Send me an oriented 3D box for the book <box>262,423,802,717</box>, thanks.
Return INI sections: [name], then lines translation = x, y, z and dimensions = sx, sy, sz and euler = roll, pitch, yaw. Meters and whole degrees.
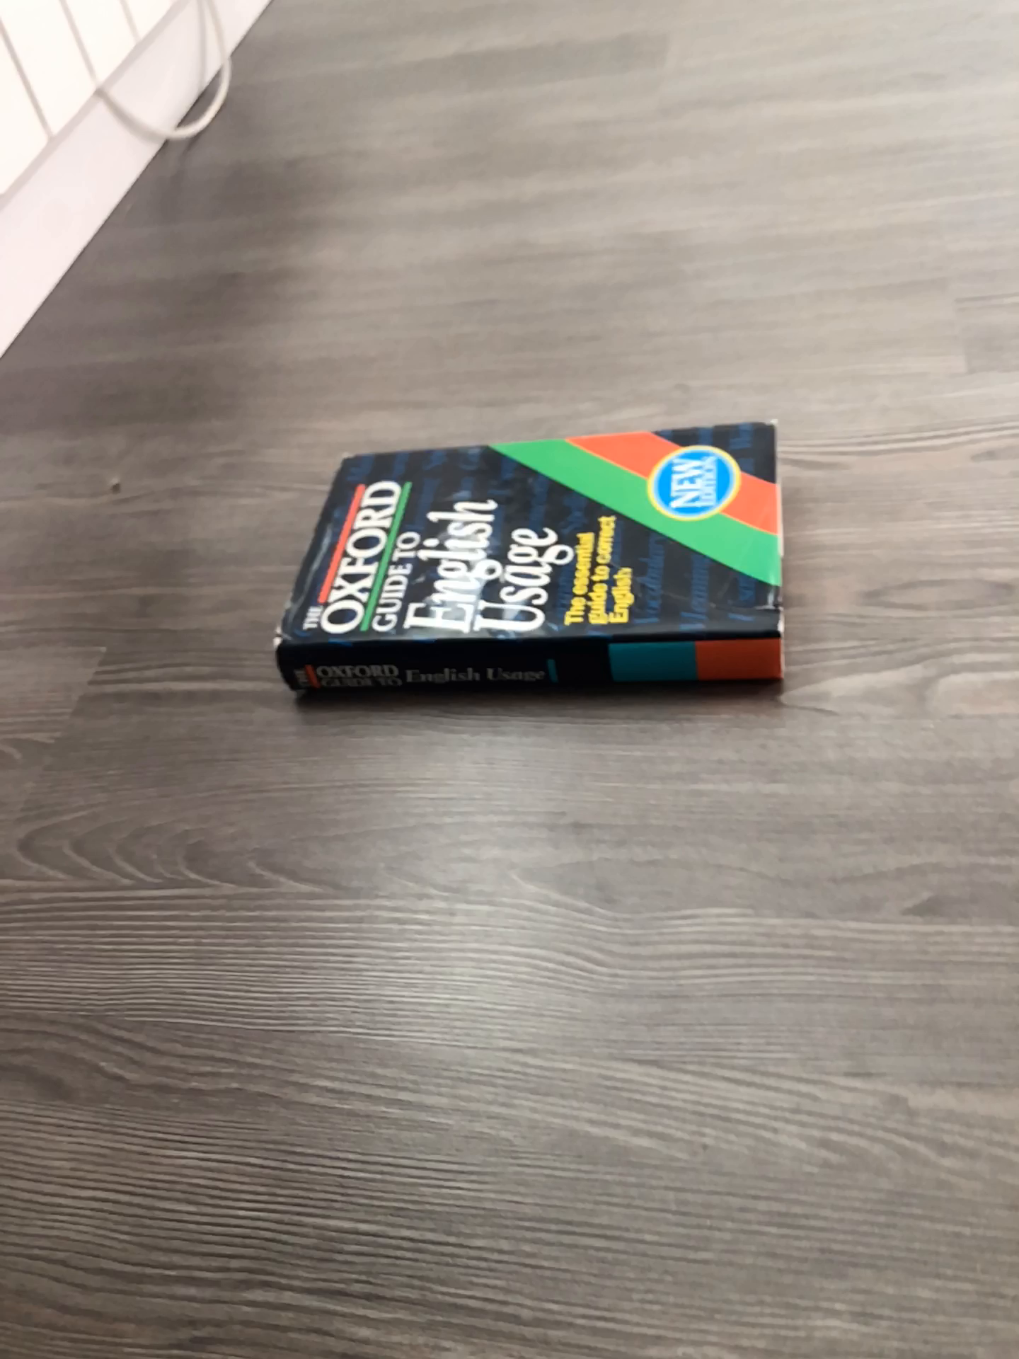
[book]
translation = 0.016, -0.053, 0.532
dimensions = 0.229, 0.035, 0.151
euler = -1, 47, 13
